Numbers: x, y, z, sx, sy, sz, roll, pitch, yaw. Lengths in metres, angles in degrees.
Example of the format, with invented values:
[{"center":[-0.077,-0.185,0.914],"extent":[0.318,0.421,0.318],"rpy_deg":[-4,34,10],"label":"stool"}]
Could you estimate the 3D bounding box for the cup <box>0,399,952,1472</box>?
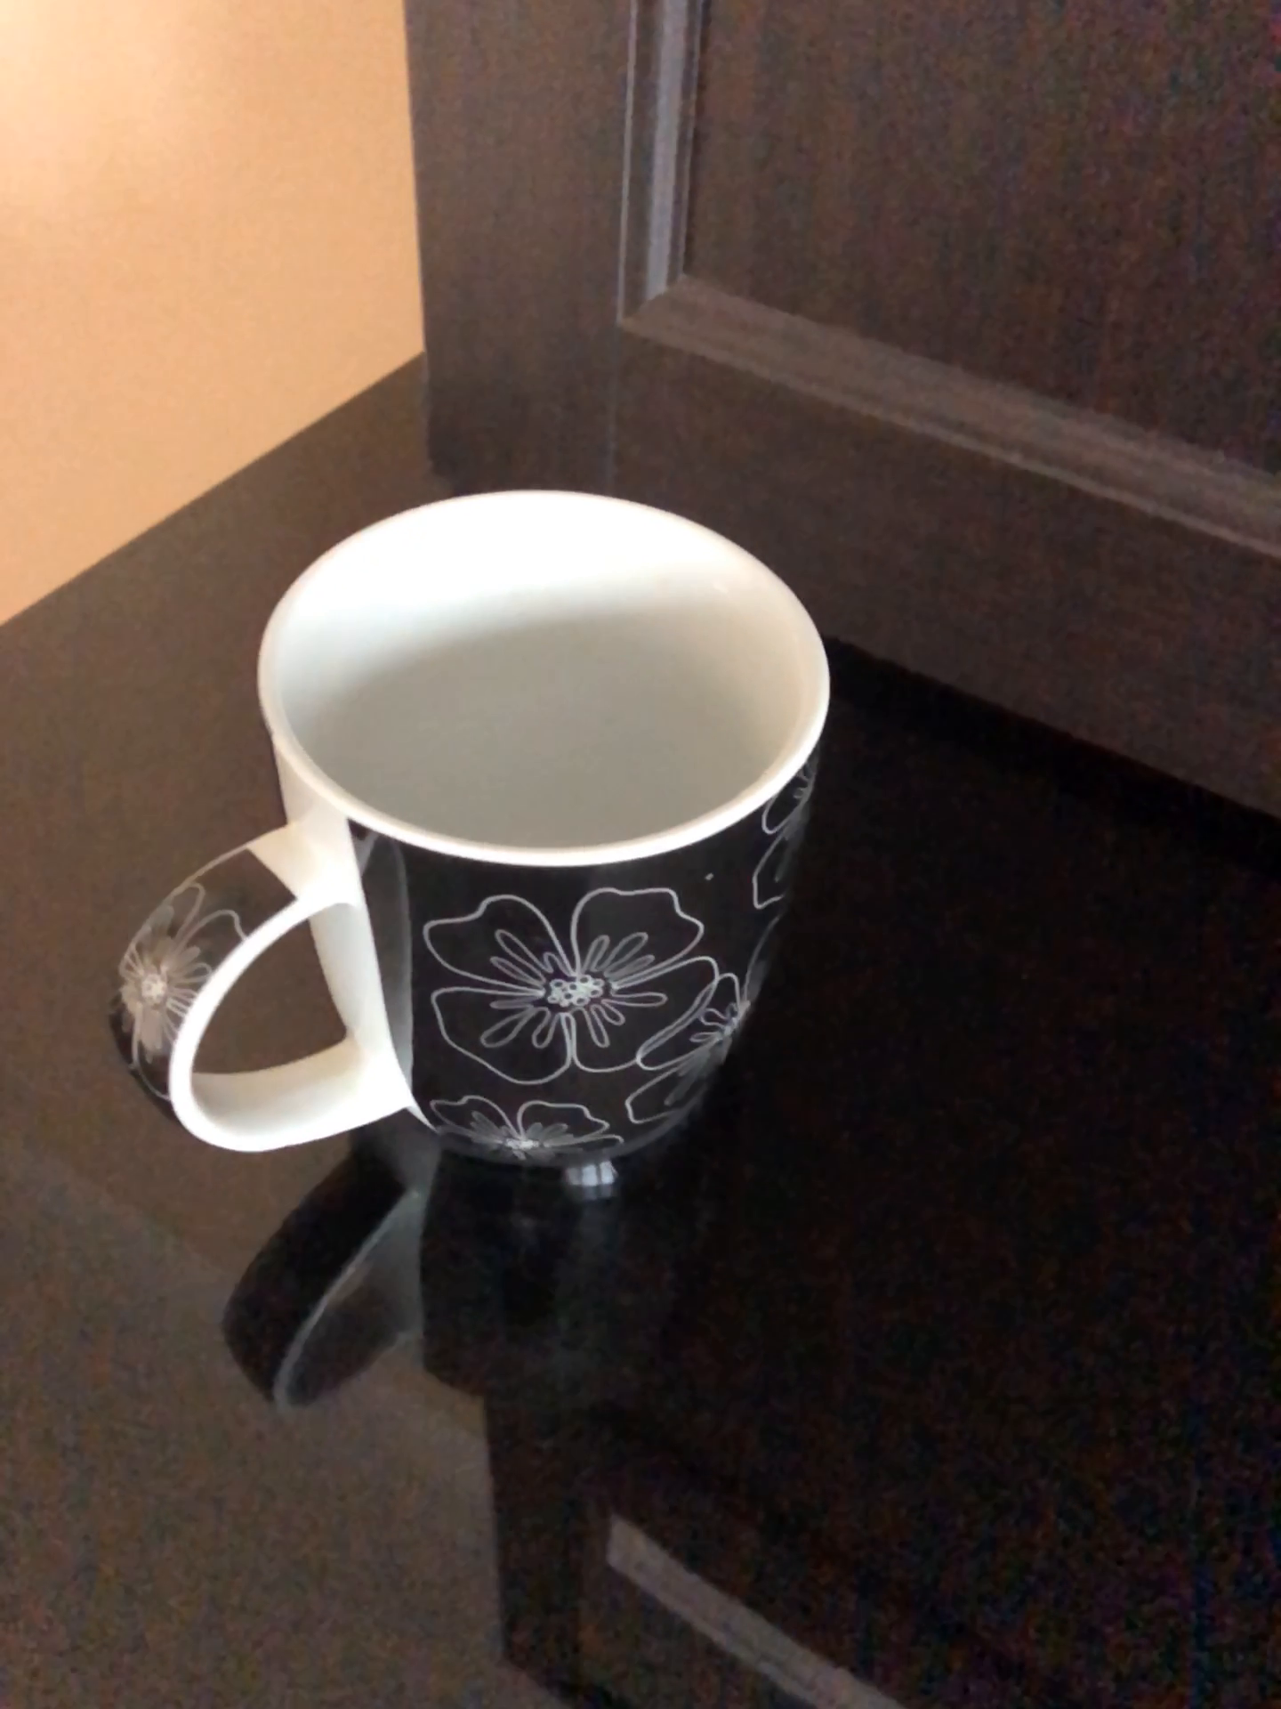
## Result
[{"center":[-0.032,0.006,0.228],"extent":[0.121,0.089,0.090],"rpy_deg":[-35,58,-31],"label":"cup"}]
